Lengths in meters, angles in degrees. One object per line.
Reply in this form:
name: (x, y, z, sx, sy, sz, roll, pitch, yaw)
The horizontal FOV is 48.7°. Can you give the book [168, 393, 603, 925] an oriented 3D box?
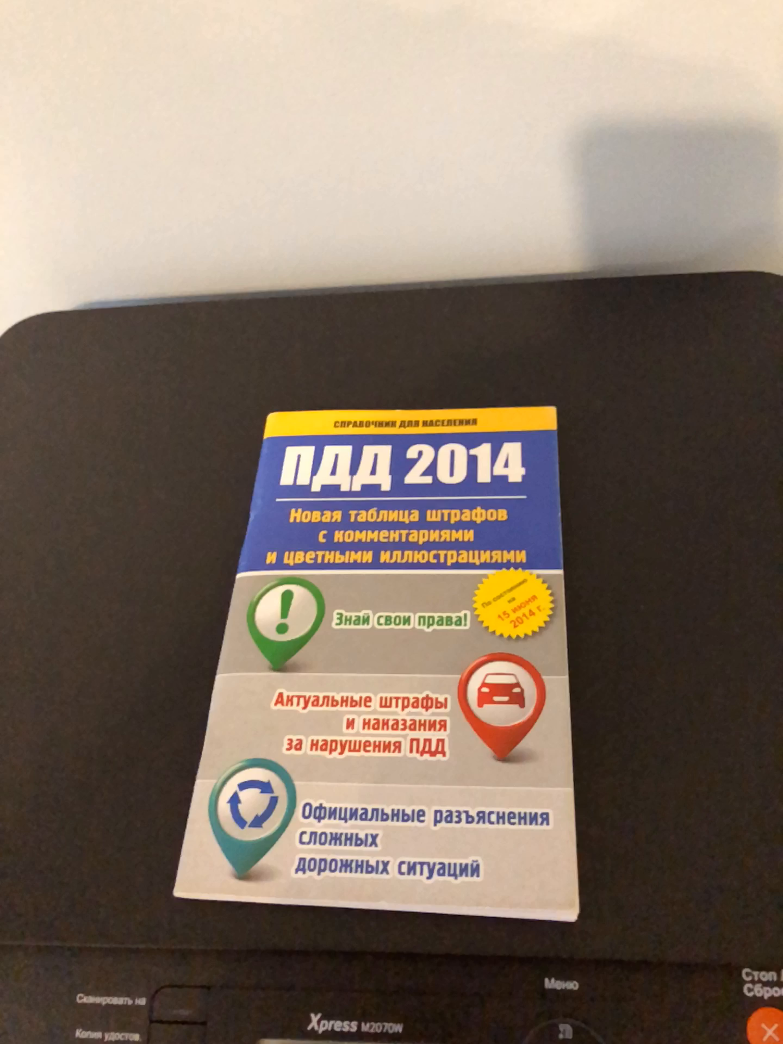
book: (0.003, 0.034, 0.316, 0.130, 0.010, 0.201, -1, 56, 7)
